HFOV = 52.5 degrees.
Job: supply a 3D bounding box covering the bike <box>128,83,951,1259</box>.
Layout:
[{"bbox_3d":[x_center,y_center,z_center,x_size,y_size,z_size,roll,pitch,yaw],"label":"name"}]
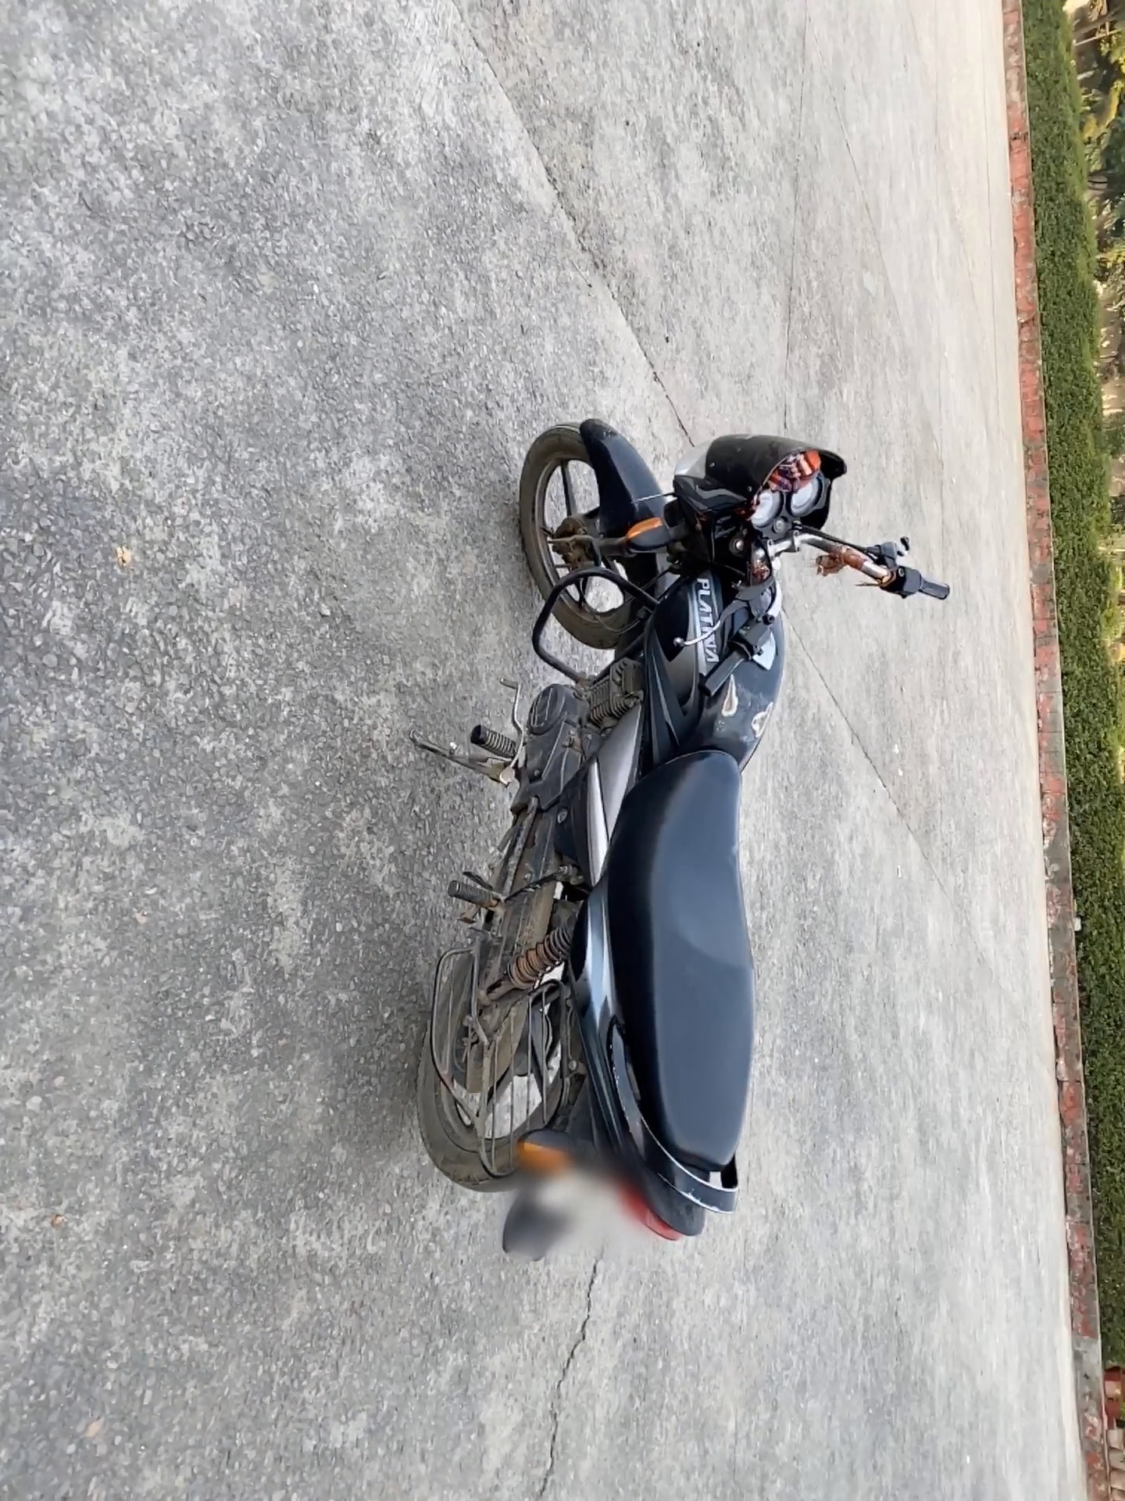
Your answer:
[{"bbox_3d":[0.060,-0.101,2.133,0.775,1.078,1.738,41,49,-54],"label":"bike"}]
